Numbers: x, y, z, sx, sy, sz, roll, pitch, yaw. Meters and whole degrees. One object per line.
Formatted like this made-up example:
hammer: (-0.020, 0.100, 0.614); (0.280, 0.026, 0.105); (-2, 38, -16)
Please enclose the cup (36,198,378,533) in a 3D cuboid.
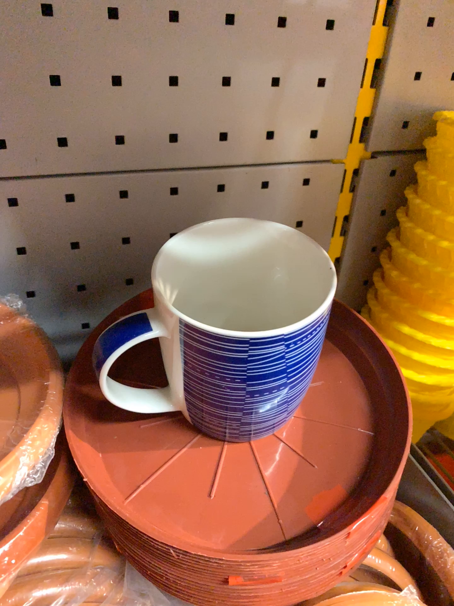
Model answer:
cup: (-0.012, 0.024, 0.256); (0.130, 0.100, 0.100); (-21, 44, -25)
